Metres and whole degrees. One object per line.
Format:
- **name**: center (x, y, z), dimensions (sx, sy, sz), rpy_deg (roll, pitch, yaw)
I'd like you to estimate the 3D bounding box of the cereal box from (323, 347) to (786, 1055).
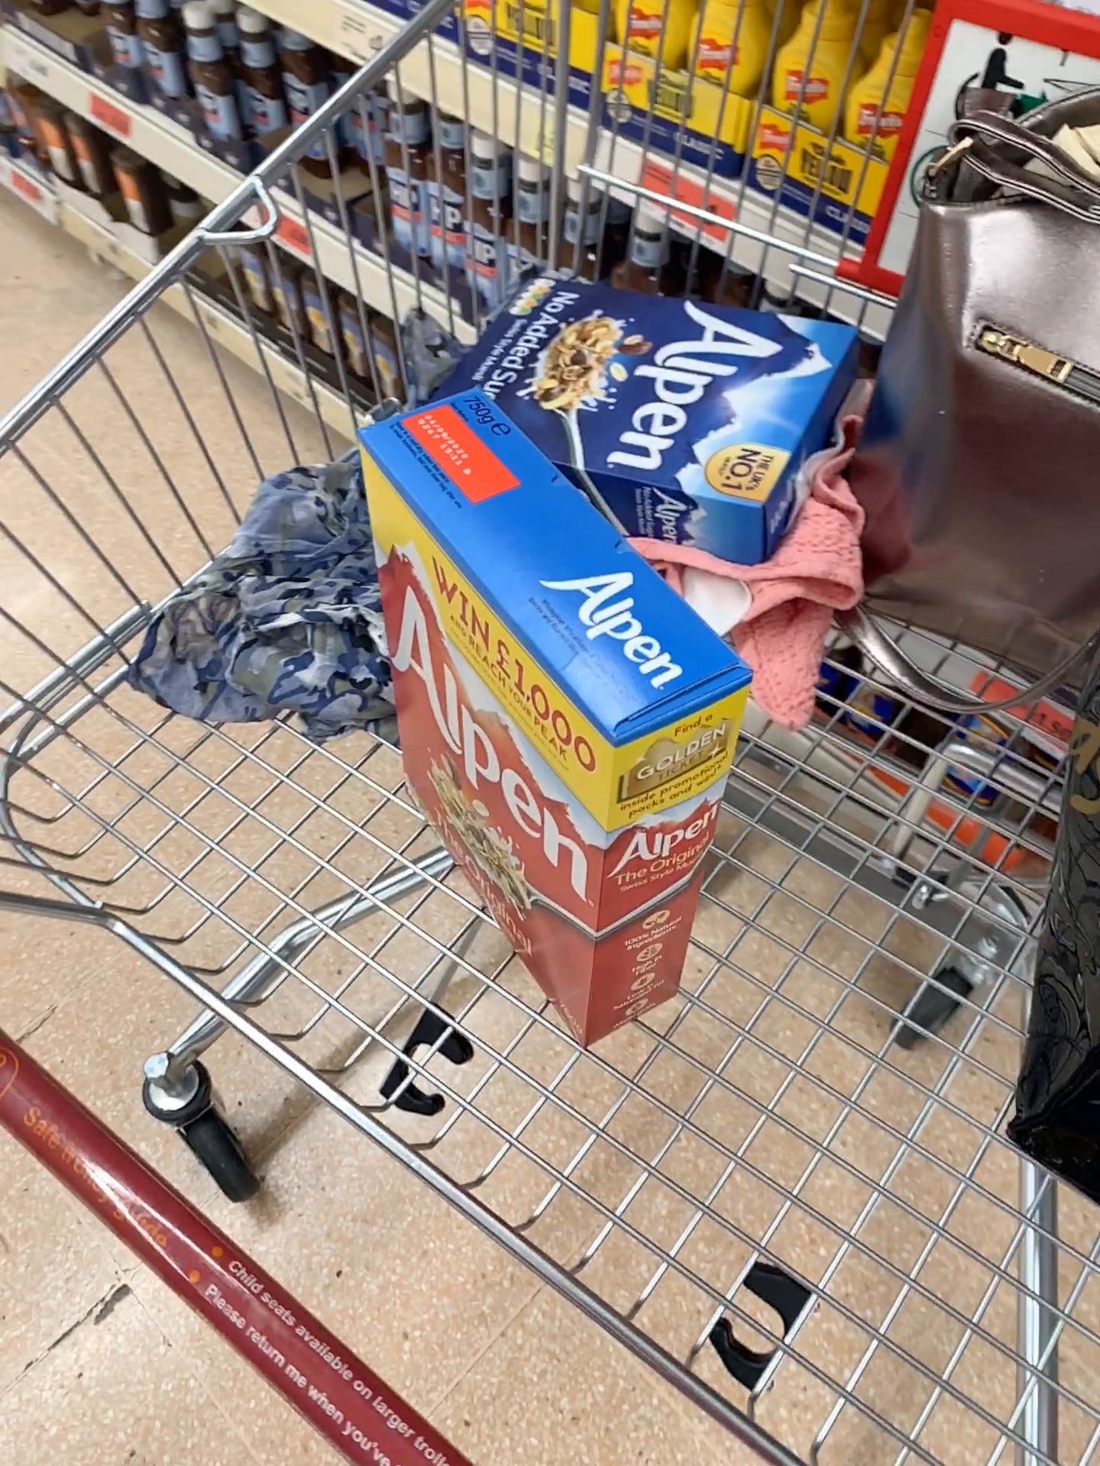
- **cereal box**: center (-0.006, 0.002, 0.470), dimensions (0.060, 0.248, 0.181), rpy_deg (-29, 60, -19)
